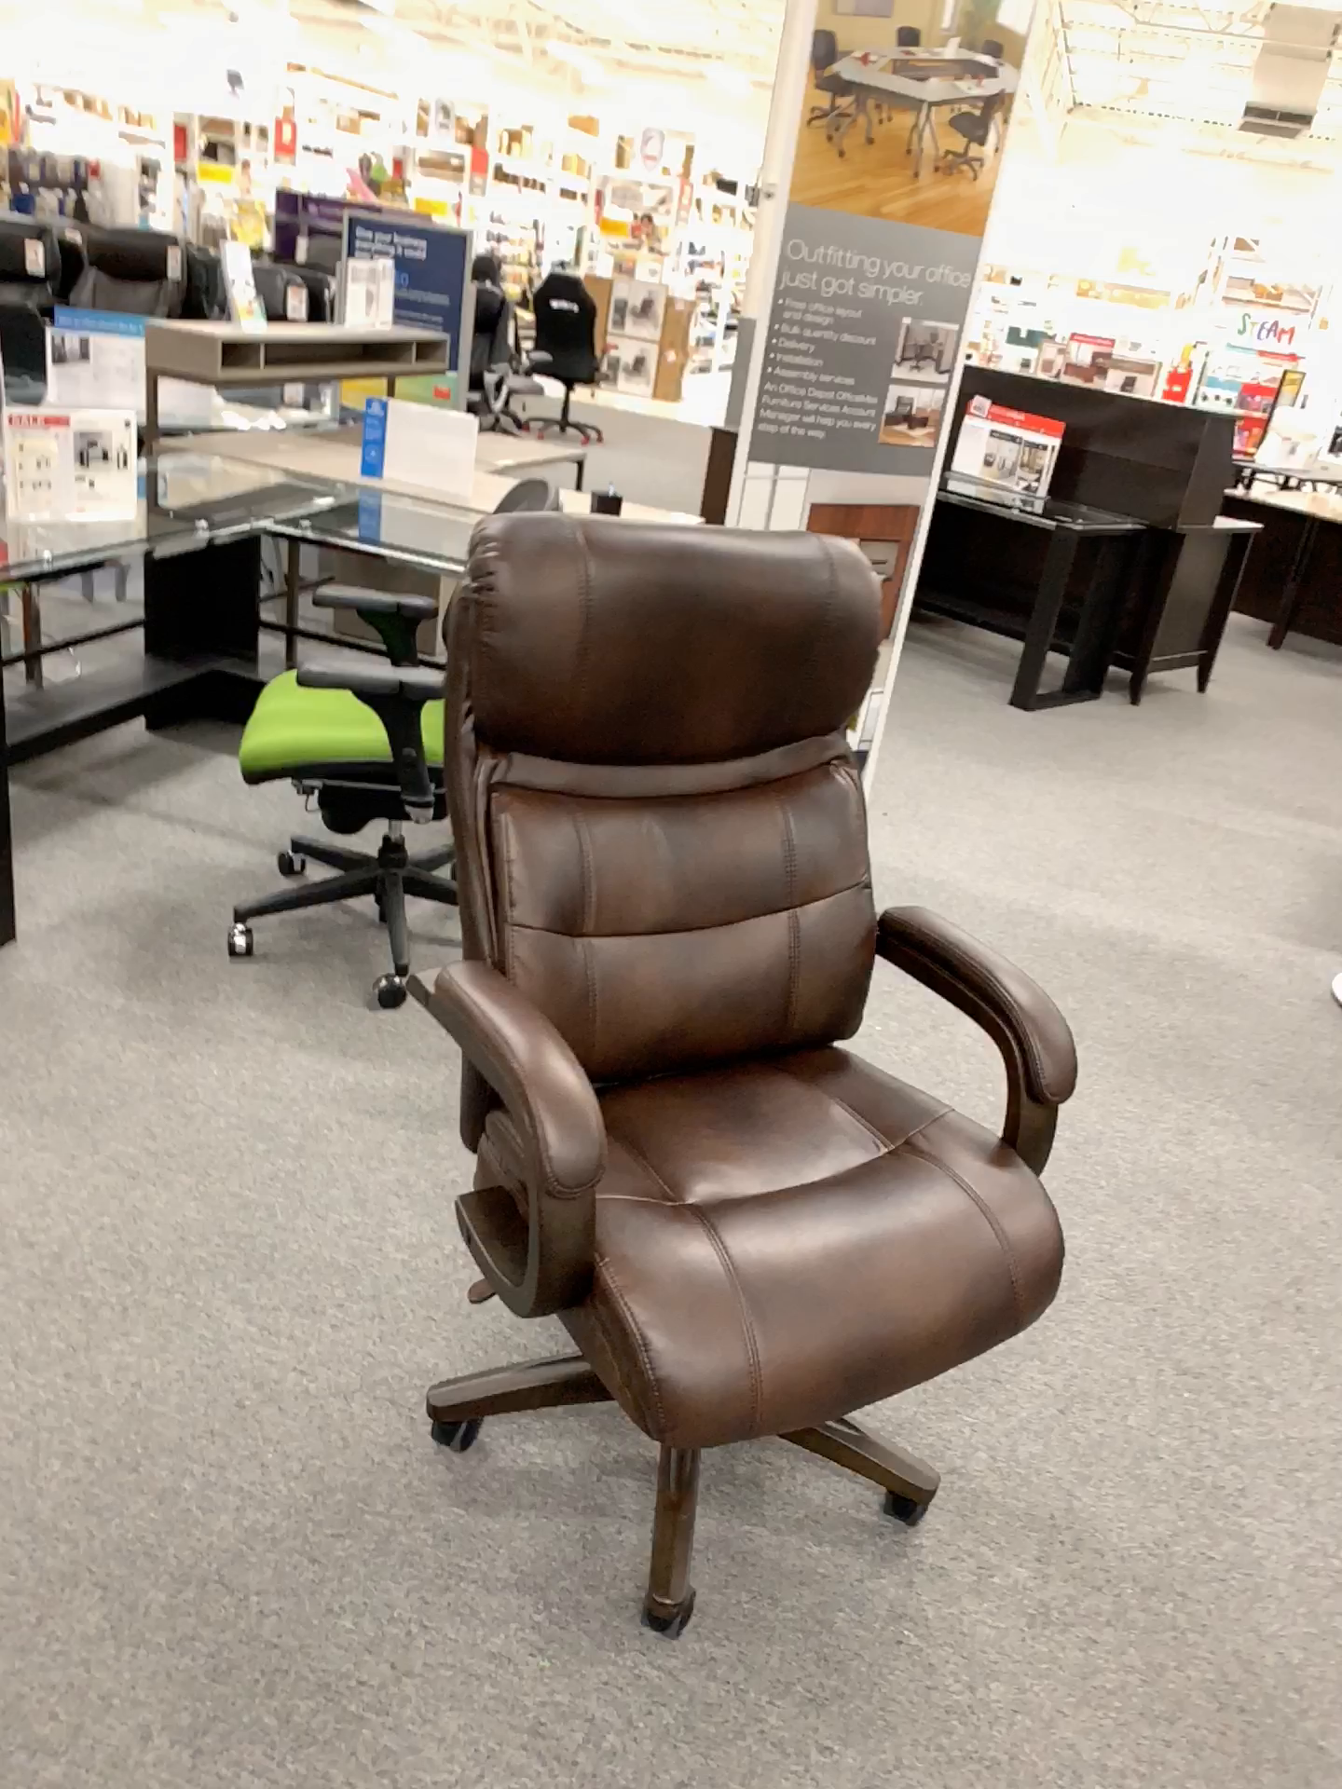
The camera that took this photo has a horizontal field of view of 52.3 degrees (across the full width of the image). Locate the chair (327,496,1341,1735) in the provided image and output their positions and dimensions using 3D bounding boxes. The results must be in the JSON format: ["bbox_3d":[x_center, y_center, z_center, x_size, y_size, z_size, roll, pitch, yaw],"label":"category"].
[{"bbox_3d":[0.090,0.179,1.629,0.751,1.095,0.703,-6,28,-30],"label":"chair"}]
